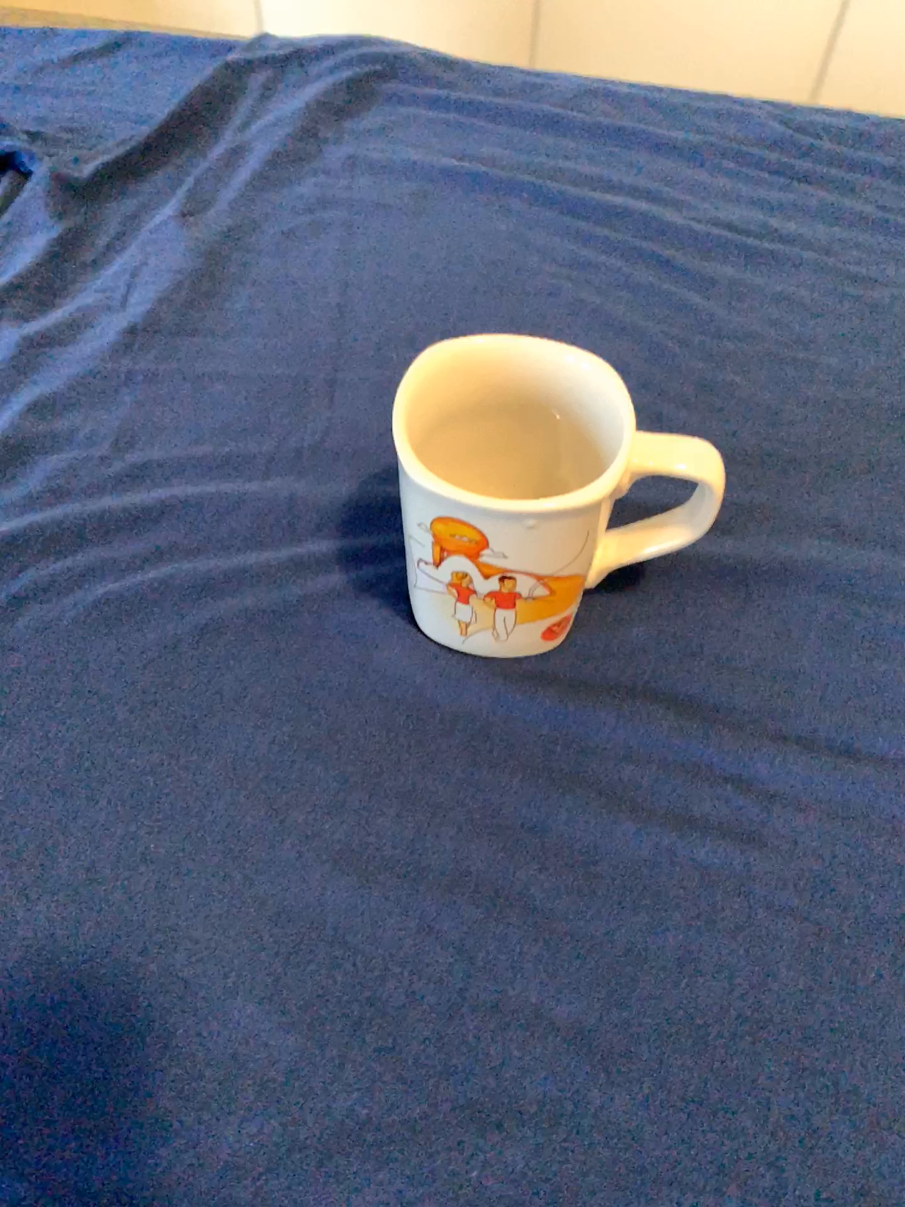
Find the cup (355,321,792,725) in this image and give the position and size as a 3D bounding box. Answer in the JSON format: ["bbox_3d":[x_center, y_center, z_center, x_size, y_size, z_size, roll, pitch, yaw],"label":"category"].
[{"bbox_3d":[0.033,-0.023,0.291,0.110,0.090,0.070,8,53,3],"label":"cup"}]
